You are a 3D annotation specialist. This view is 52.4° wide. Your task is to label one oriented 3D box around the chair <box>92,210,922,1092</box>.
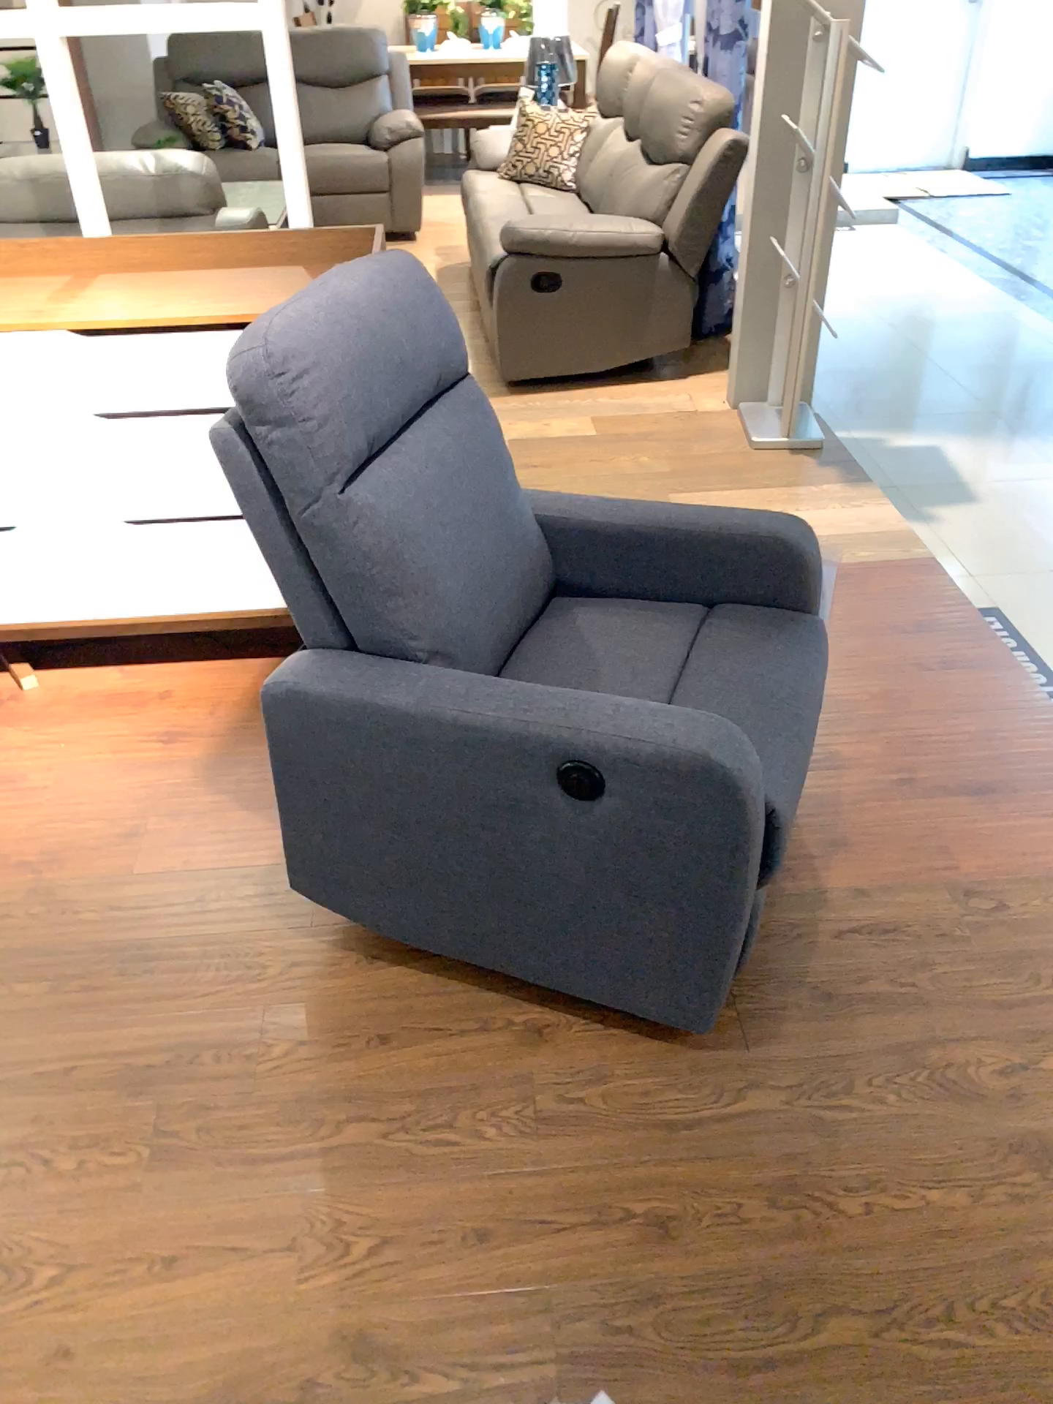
[{"bbox_3d":[0.076,-0.162,1.744,0.881,0.965,0.934,10,37,15],"label":"chair"}]
